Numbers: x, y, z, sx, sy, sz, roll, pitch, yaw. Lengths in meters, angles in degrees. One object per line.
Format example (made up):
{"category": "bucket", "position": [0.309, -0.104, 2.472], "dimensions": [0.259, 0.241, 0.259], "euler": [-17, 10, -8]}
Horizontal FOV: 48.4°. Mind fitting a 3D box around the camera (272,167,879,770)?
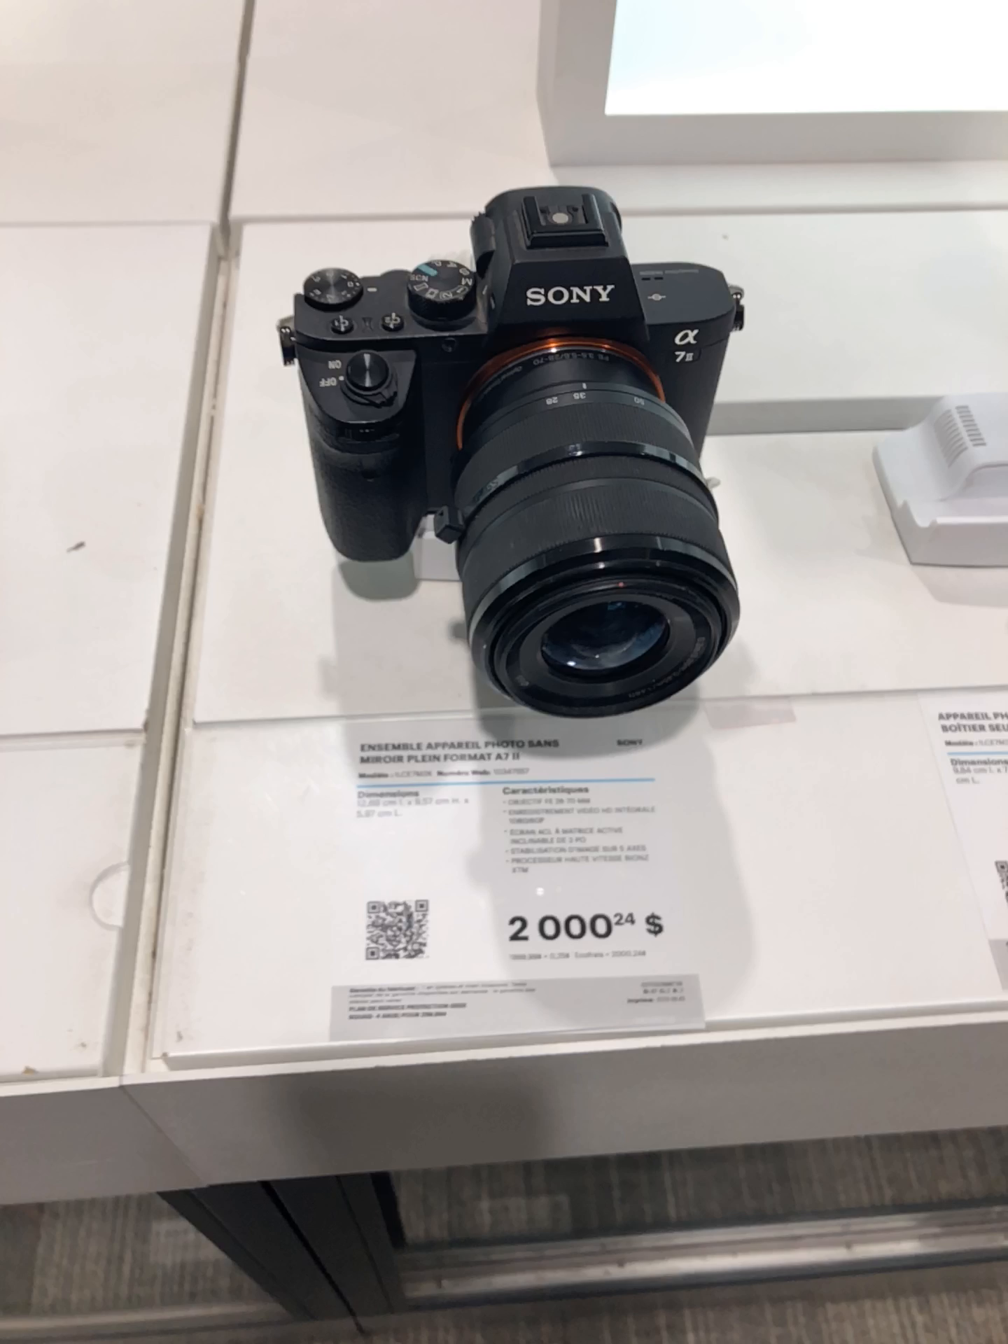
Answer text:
{"category": "camera", "position": [0.008, -0.060, 0.322], "dimensions": [0.134, 0.099, 0.131], "euler": [-5, 54, -5]}
